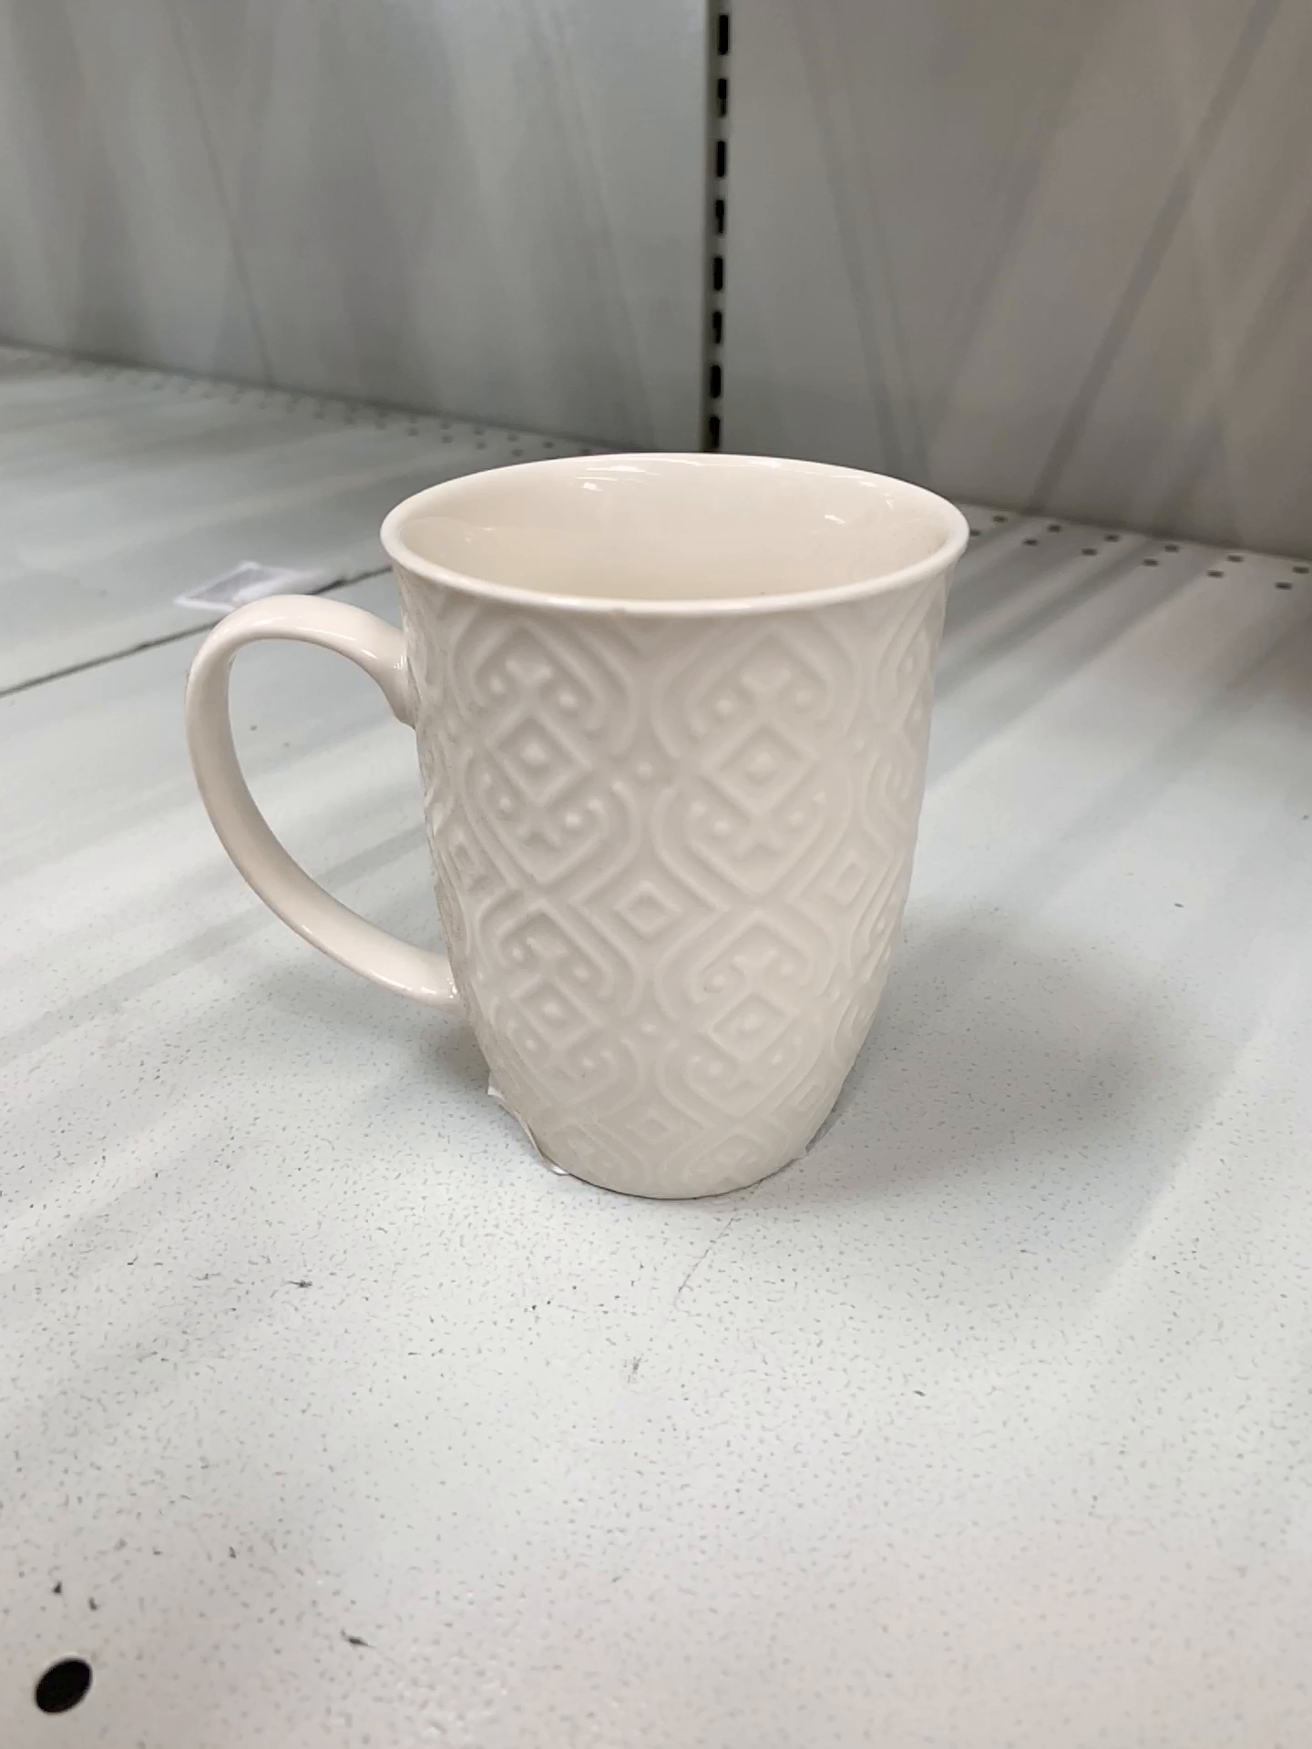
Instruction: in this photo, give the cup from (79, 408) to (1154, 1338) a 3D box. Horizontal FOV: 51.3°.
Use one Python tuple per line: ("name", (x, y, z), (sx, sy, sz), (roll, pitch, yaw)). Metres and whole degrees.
("cup", (0.000, -0.013, 0.223), (0.132, 0.098, 0.092), (12, 31, 20))
